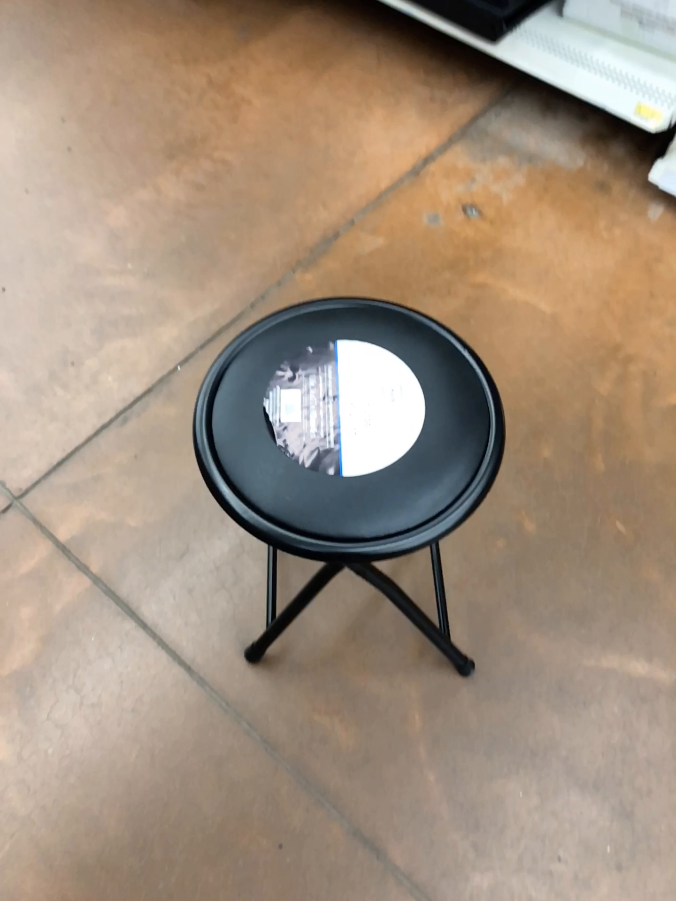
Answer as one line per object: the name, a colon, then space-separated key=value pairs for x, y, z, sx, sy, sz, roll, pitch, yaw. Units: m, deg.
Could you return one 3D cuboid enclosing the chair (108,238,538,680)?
chair: x=-0.018 y=0.035 z=0.827 sx=0.330 sy=0.400 sz=0.320 roll=-2 pitch=60 yaw=-1
